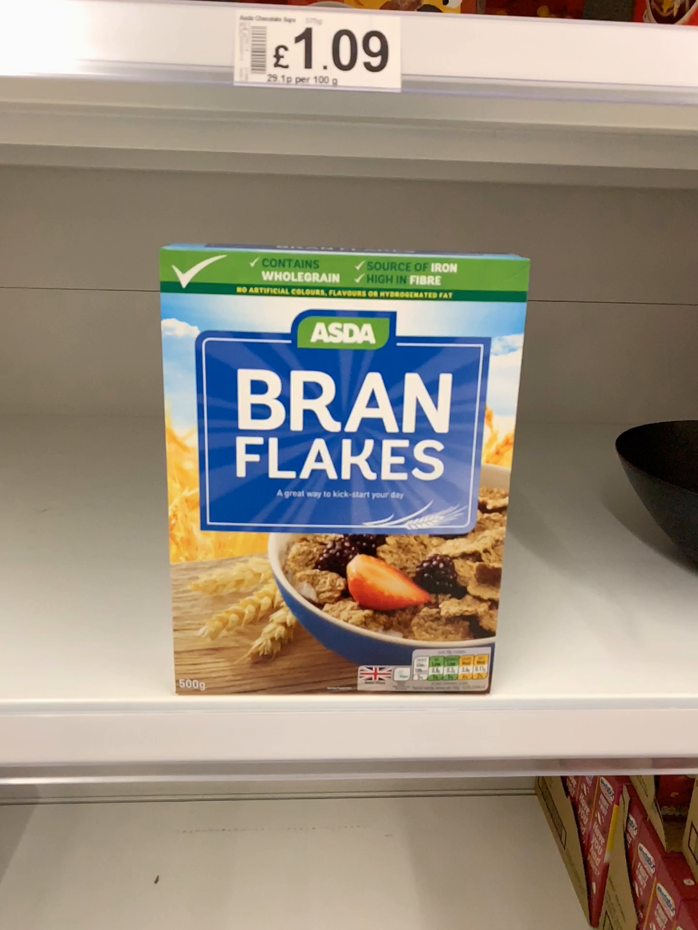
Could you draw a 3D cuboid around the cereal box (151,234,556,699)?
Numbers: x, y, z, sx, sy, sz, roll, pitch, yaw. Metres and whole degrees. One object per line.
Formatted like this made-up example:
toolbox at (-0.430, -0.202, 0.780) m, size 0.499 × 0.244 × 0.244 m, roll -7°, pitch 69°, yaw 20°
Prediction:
cereal box at (-0.002, 0.003, 0.458) m, size 0.220 × 0.278 × 0.080 m, roll 1°, pitch 14°, yaw -3°
